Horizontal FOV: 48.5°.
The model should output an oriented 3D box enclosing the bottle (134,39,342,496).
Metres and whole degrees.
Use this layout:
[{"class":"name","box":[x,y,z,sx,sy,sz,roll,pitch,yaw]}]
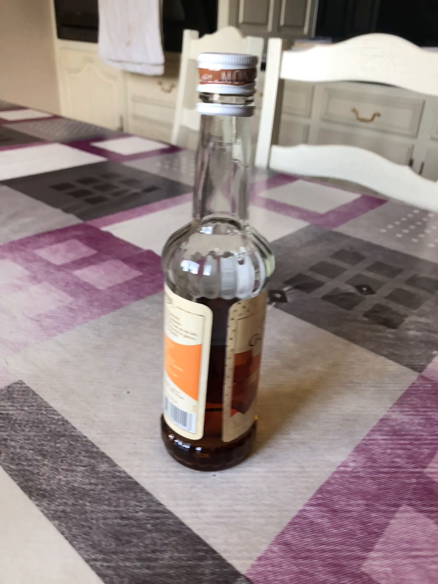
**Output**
[{"class":"bottle","box":[0.000,-0.006,0.275,0.070,0.239,0.070,2,28,-1]}]
